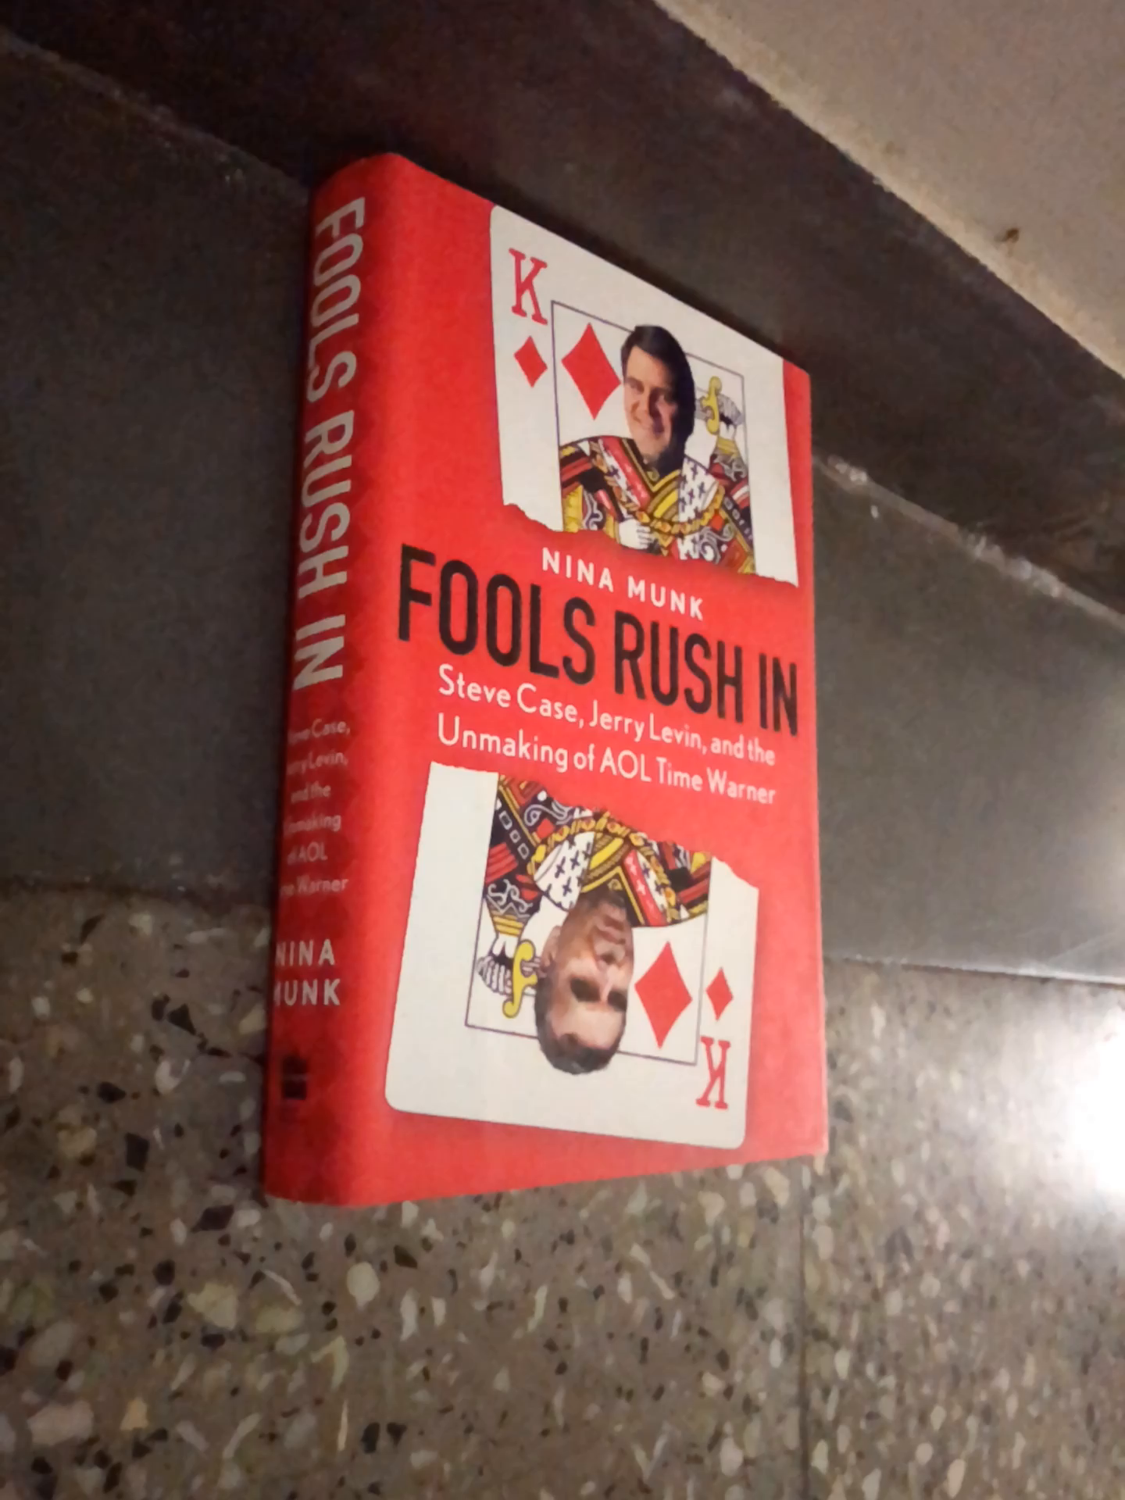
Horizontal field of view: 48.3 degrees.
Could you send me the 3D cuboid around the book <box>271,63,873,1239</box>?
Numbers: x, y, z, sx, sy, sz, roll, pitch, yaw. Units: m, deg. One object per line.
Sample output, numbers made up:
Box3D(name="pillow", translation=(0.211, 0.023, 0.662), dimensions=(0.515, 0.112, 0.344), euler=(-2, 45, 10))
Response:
Box3D(name="book", translation=(0.012, -0.021, 0.348), dimensions=(0.181, 0.030, 0.270), euler=(10, 74, -41))
